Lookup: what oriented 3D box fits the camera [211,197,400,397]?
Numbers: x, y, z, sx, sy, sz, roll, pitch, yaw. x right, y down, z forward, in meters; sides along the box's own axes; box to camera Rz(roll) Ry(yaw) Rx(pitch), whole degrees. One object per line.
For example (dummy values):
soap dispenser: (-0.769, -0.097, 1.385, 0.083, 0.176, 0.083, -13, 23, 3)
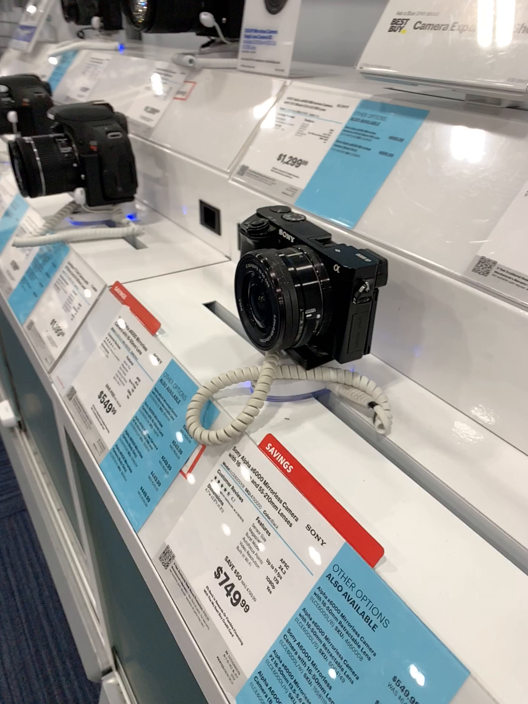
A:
camera: (0.018, -0.044, 0.365, 0.060, 0.080, 0.131, -13, 34, -24)
